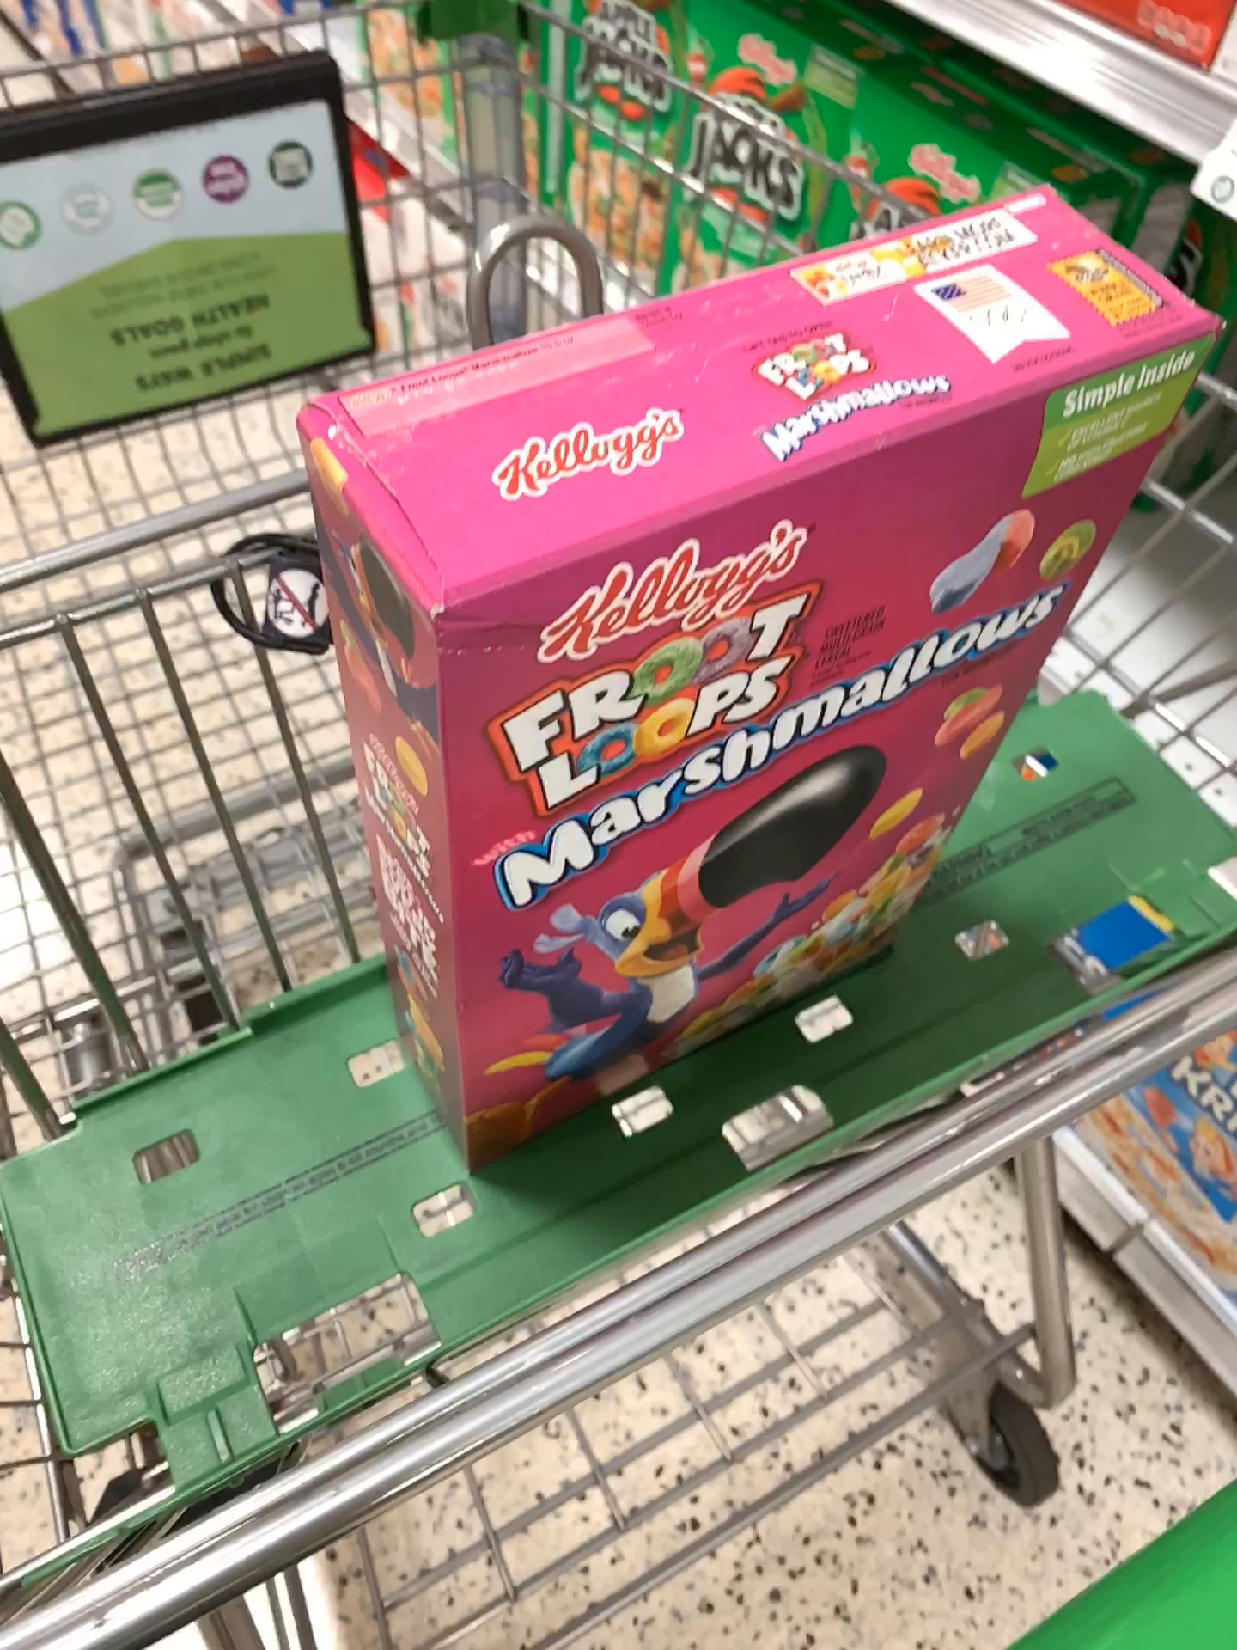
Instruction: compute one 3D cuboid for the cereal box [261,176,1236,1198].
[{"bbox_3d":[0.025,-0.012,0.373,0.201,0.287,0.060,-24,62,-20],"label":"cereal box"}]
